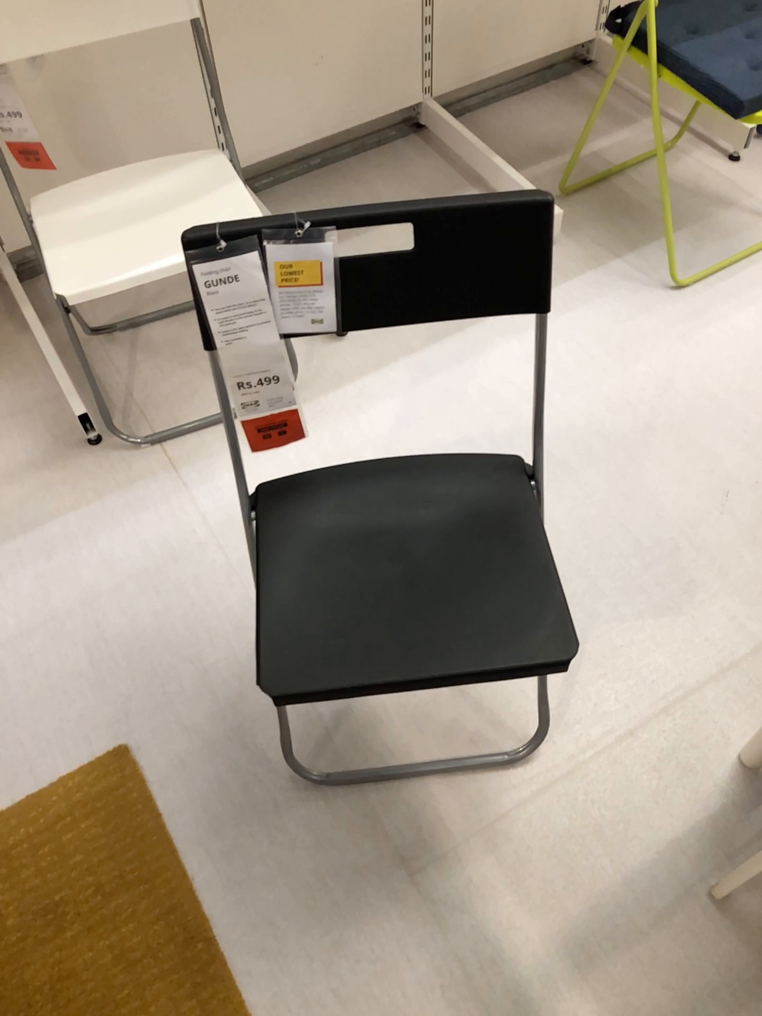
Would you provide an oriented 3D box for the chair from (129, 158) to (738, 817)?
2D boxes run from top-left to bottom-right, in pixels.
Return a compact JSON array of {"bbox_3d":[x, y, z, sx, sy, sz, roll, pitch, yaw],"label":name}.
[{"bbox_3d":[0.033,0.043,1.135,0.500,0.786,0.462,-7,55,-2],"label":"chair"}]
